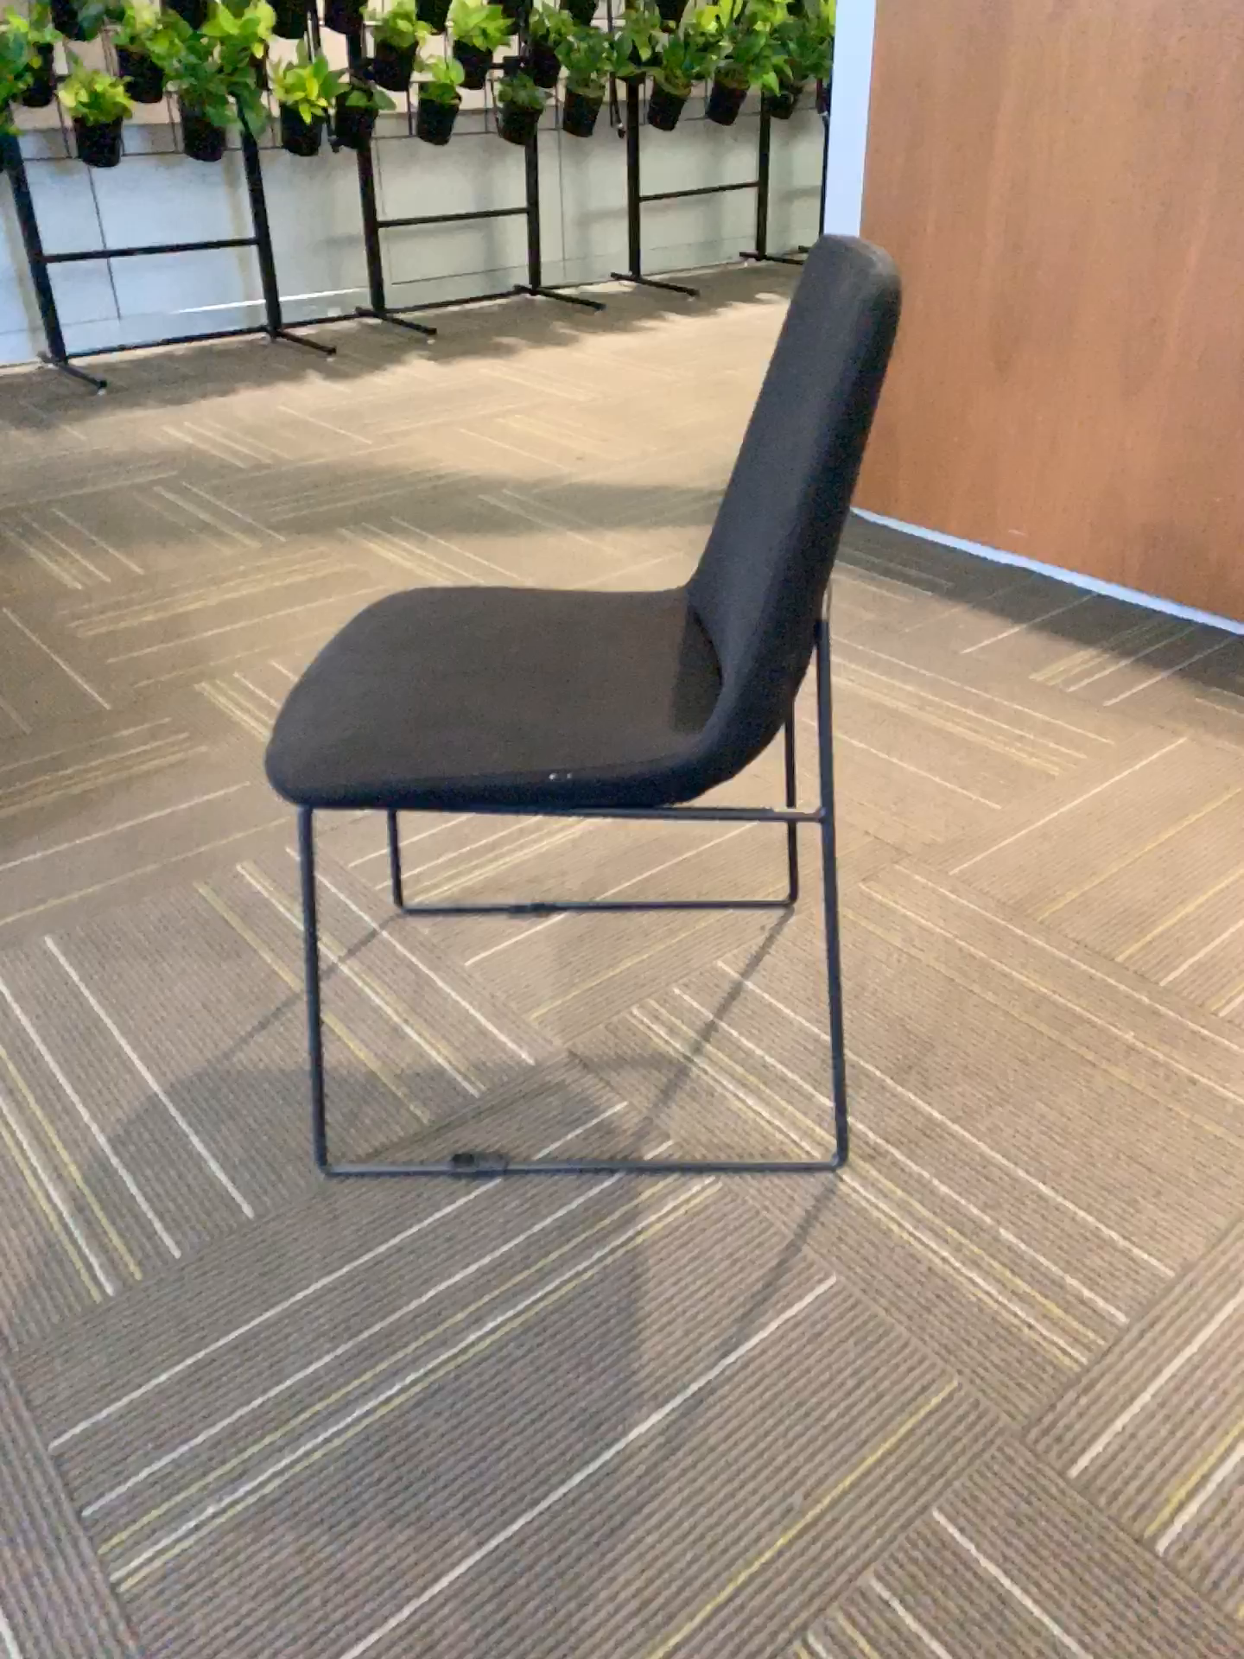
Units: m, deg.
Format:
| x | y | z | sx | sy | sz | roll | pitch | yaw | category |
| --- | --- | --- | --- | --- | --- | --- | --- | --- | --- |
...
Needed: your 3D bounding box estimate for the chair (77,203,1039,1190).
| x | y | z | sx | sy | sz | roll | pitch | yaw | category |
| --- | --- | --- | --- | --- | --- | --- | --- | --- | --- |
| -0.031 | -0.126 | 1.151 | 0.570 | 0.745 | 0.493 | 0 | 31 | 1 | chair |
